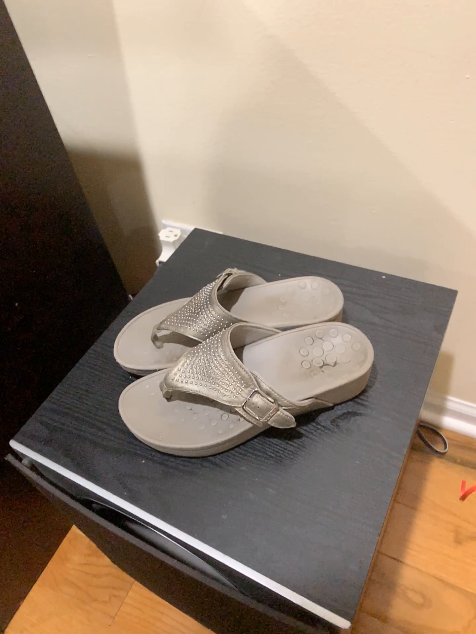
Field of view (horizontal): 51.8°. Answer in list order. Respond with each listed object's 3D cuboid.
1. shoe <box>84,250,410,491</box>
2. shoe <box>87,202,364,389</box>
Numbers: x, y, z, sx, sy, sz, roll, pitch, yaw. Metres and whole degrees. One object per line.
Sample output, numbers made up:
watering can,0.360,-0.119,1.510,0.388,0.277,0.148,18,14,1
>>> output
shoe,0.006,0.041,0.432,0.247,0.080,0.109,-19,48,-8
shoe,-0.015,-0.024,0.493,0.247,0.080,0.109,-14,48,-3
